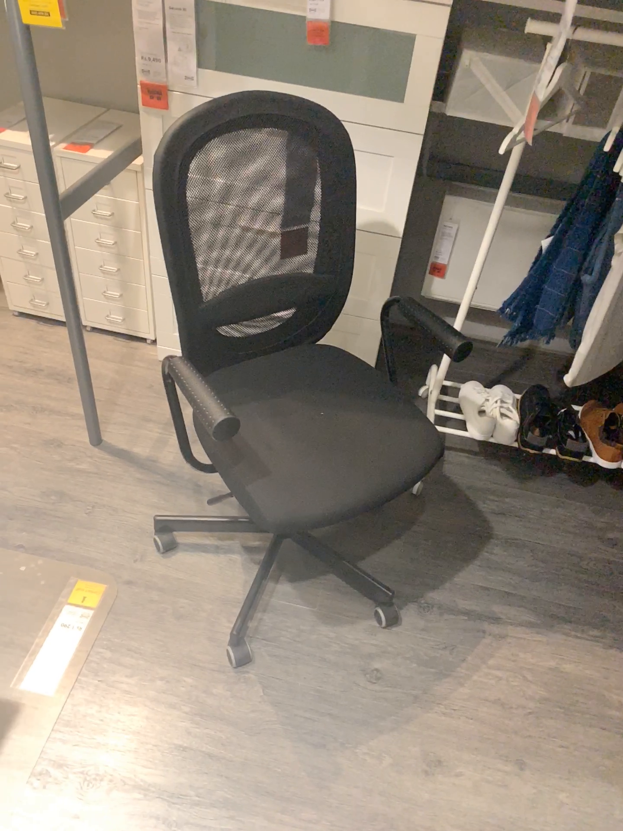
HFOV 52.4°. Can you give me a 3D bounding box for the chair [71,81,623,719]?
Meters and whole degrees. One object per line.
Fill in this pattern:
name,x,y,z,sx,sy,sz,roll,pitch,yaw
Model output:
chair,0.003,-0.043,1.315,0.641,0.976,0.682,-19,48,-26
